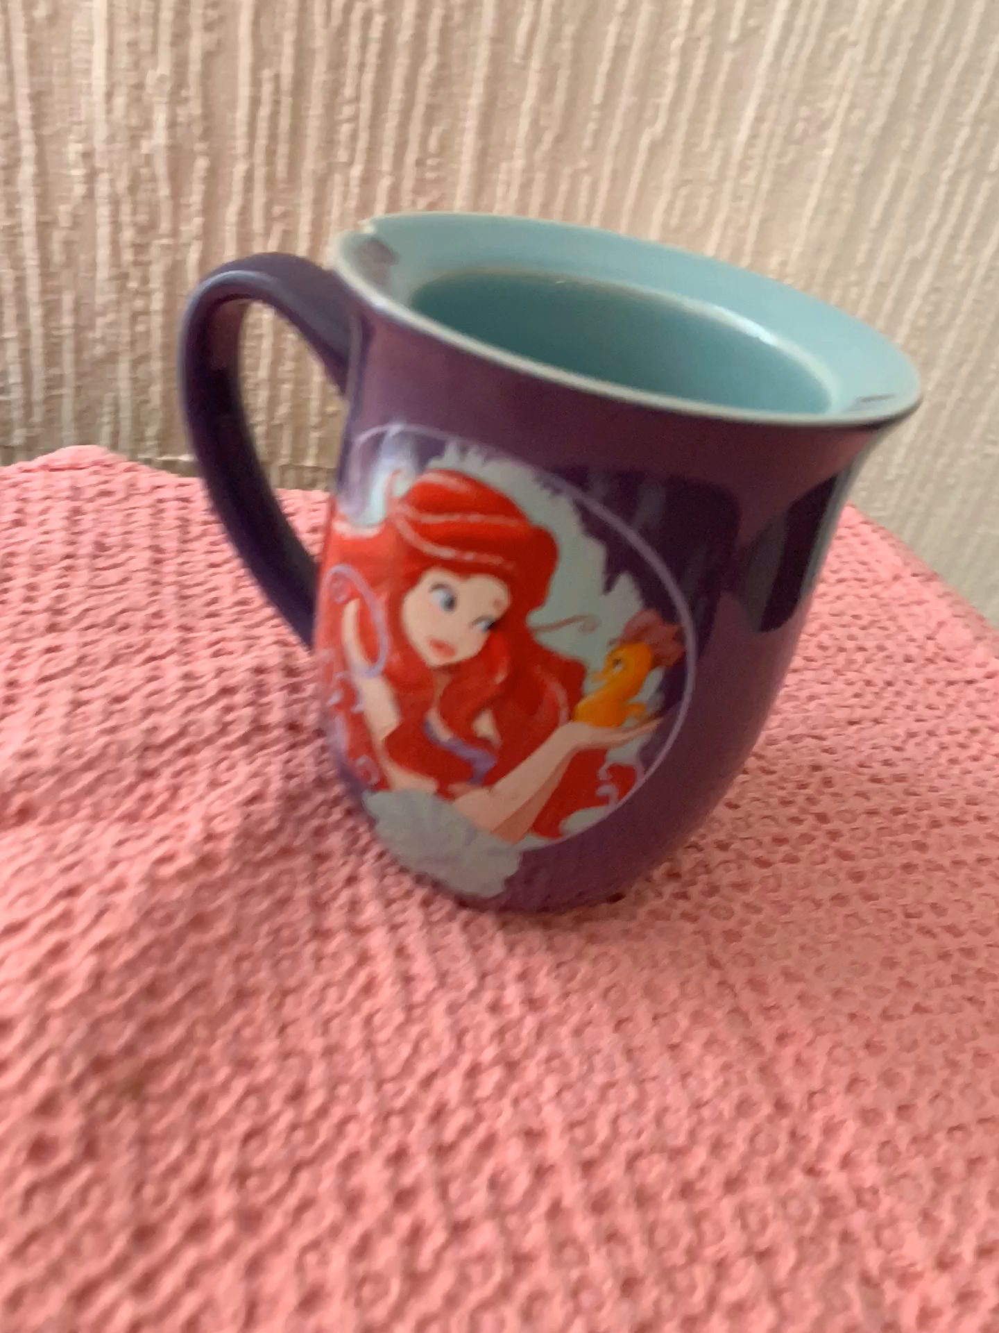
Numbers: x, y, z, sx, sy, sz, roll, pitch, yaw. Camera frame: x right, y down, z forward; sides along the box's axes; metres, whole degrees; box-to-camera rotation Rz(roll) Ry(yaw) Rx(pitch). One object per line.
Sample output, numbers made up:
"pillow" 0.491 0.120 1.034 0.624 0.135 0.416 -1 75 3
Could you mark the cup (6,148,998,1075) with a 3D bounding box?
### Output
"cup" 0.002 -0.025 0.198 0.140 0.099 0.101 25 35 16
